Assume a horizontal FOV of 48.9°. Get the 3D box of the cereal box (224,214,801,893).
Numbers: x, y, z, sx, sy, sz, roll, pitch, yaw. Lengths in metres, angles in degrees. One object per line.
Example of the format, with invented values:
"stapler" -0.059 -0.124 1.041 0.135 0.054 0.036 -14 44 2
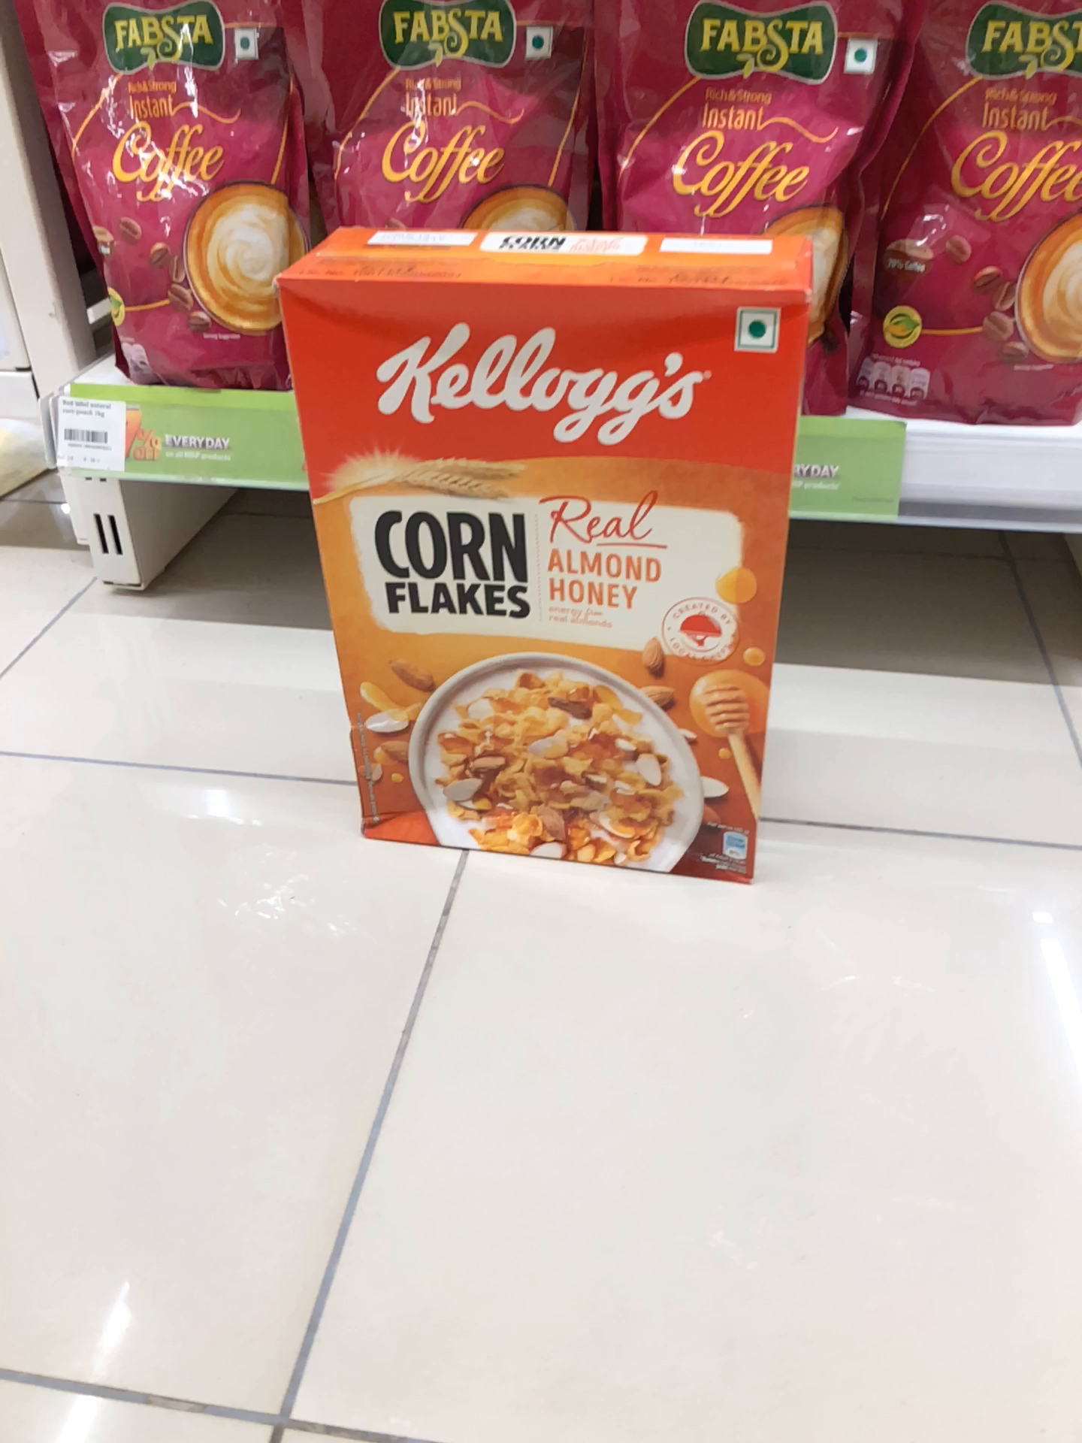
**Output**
"cereal box" -0.003 -0.066 0.512 0.200 0.268 0.081 5 34 11
